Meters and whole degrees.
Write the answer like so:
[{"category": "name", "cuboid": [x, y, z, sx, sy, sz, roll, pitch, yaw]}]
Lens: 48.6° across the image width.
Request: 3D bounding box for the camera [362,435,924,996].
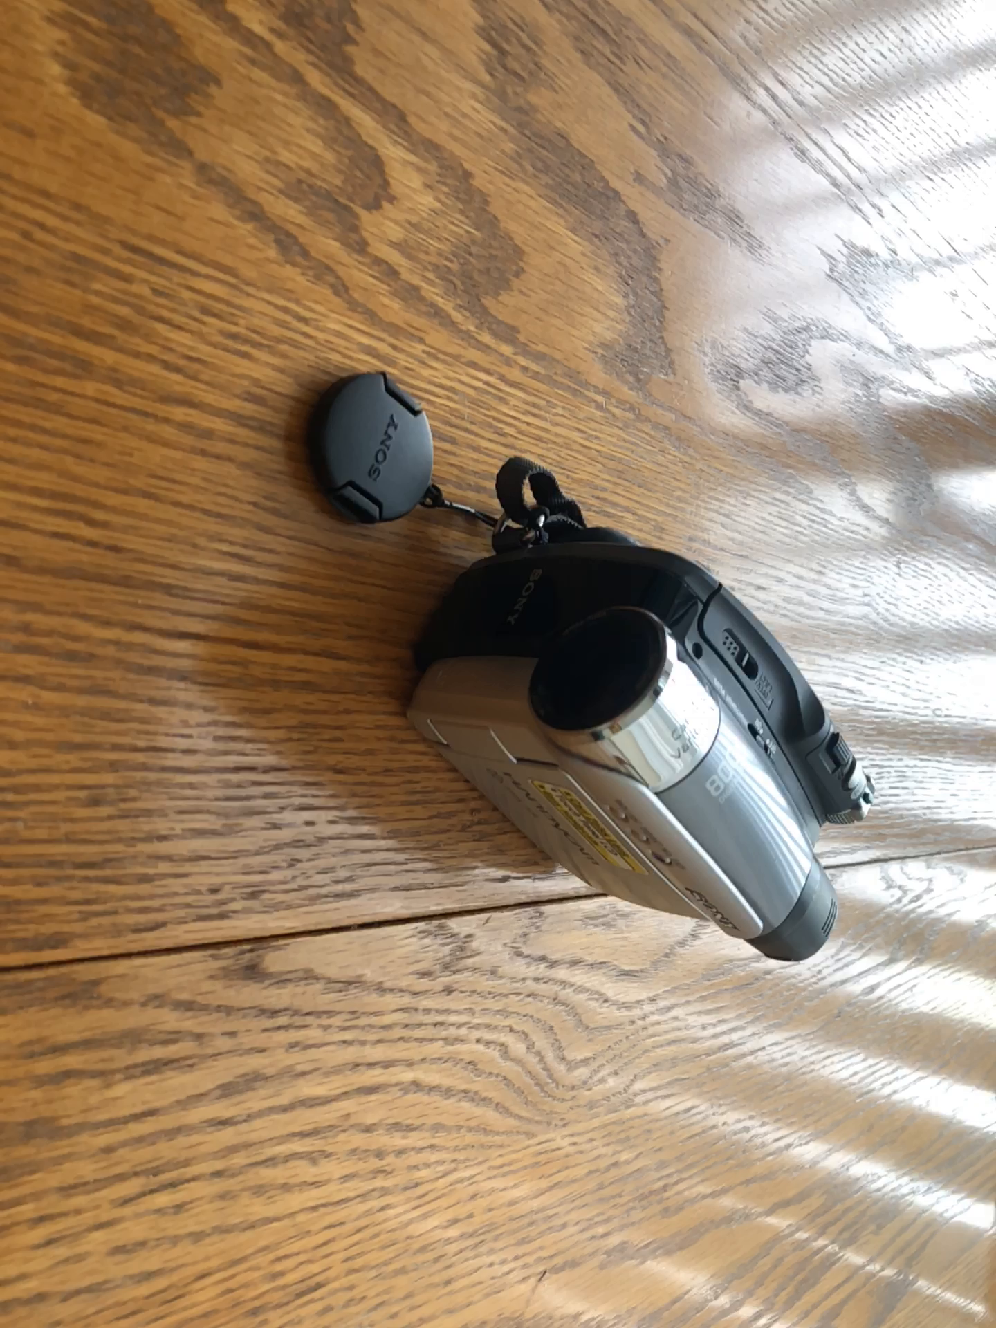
[{"category": "camera", "cuboid": [0.043, 0.015, 0.274, 0.112, 0.072, 0.080, 47, 60, -39]}]
